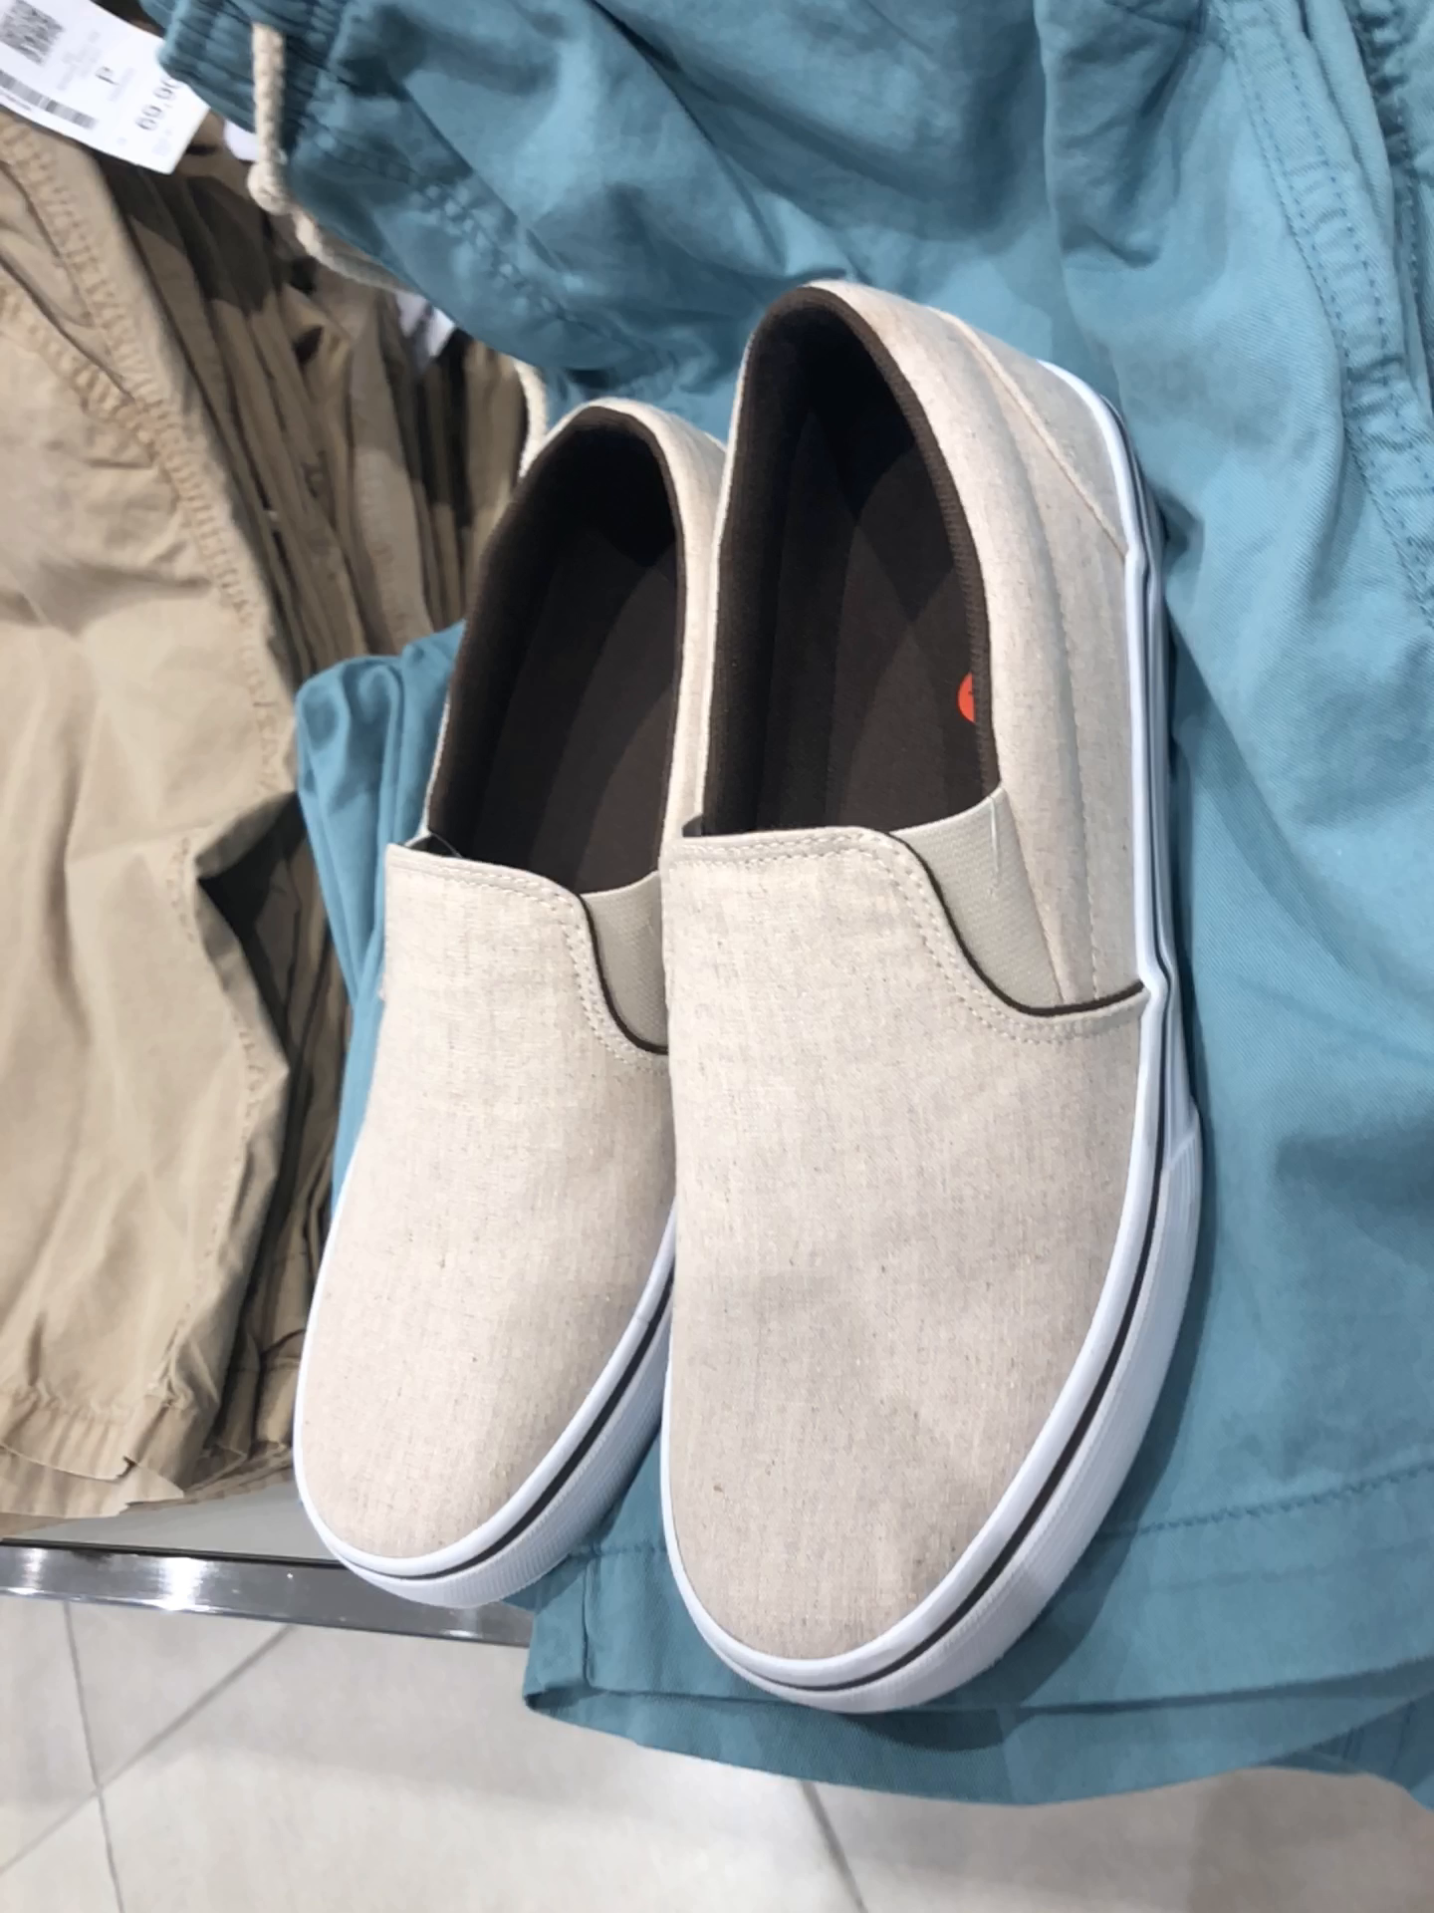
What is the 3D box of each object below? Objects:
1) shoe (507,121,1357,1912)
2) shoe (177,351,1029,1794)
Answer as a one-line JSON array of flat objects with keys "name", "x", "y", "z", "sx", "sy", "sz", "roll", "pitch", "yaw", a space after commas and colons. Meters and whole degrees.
[{"name": "shoe", "x": 0.045, "y": 0.011, "z": 0.283, "sx": 0.100, "sy": 0.090, "sz": 0.260, "roll": -2, "pitch": 78, "yaw": 38}, {"name": "shoe", "x": -0.022, "y": 0.019, "z": 0.348, "sx": 0.100, "sy": 0.090, "sz": 0.260, "roll": 8, "pitch": 84, "yaw": 40}]
